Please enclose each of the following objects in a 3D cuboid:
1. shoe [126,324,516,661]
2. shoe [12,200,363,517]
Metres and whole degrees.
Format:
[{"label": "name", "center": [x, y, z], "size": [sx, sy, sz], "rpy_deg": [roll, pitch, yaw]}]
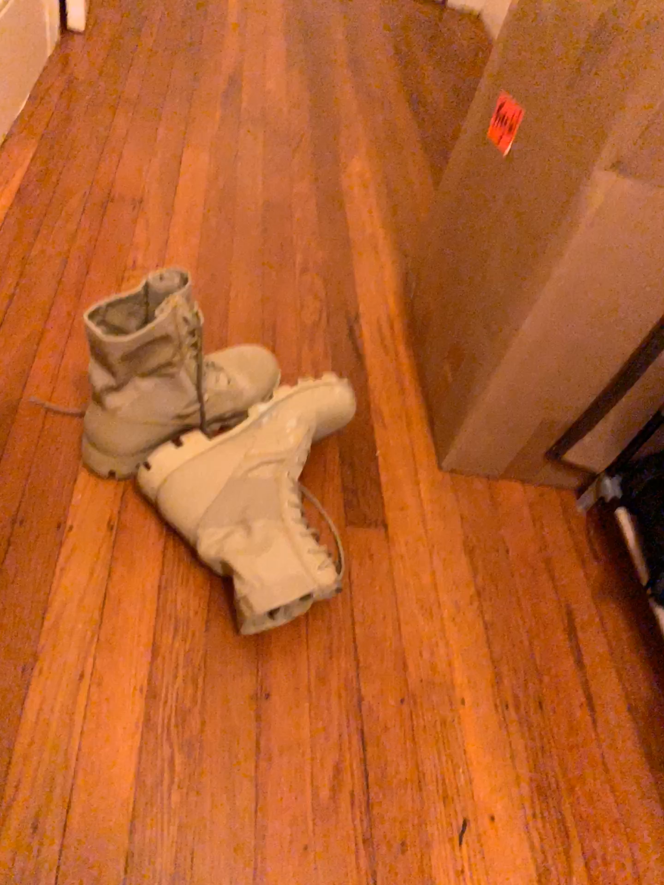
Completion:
[{"label": "shoe", "center": [-0.014, 0.027, 0.726], "size": [0.311, 0.119, 0.251], "rpy_deg": [-25, 54, -33]}, {"label": "shoe", "center": [-0.159, -0.106, 0.771], "size": [0.301, 0.199, 0.190], "rpy_deg": [-29, 64, -35]}]
